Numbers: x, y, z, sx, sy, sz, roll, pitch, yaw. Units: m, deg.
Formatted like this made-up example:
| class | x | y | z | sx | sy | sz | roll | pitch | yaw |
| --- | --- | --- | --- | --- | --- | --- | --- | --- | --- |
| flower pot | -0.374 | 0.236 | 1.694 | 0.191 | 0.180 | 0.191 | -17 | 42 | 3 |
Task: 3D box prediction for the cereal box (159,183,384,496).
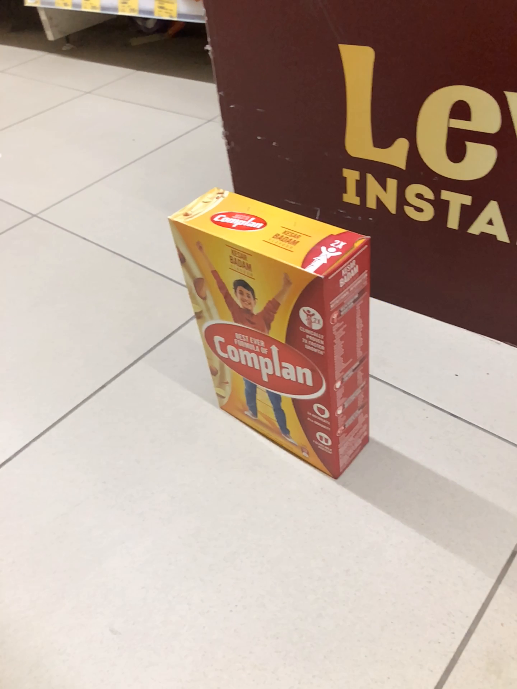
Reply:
| class | x | y | z | sx | sy | sz | roll | pitch | yaw |
| --- | --- | --- | --- | --- | --- | --- | --- | --- | --- |
| cereal box | 0.018 | 0.000 | 0.458 | 0.150 | 0.219 | 0.060 | 27 | 54 | 34 |
